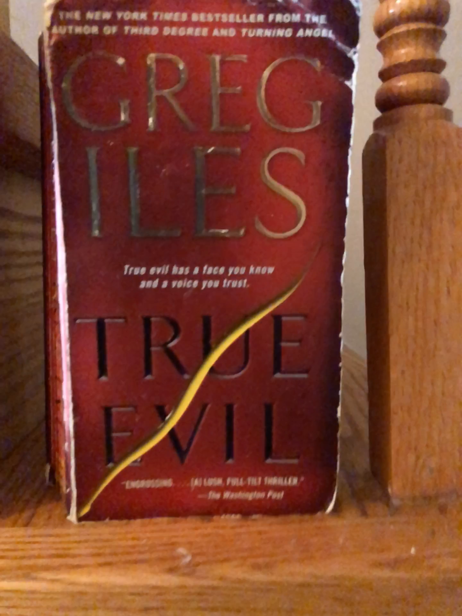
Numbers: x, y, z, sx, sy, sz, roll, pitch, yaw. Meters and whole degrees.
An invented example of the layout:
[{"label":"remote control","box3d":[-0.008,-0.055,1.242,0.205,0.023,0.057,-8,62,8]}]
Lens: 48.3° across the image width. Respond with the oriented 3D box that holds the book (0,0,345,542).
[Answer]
[{"label":"book","box3d":[-0.019,-0.017,0.224,0.120,0.205,0.068,-1,6,-2]}]
